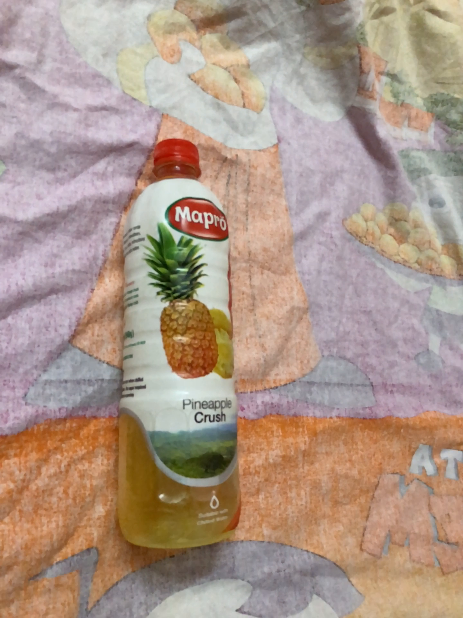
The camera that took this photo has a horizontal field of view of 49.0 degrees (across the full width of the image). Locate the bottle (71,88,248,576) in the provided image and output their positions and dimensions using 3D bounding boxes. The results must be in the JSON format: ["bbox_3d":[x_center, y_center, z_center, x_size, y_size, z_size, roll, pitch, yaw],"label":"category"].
[{"bbox_3d":[-0.040,0.010,0.307,0.080,0.060,0.250,7,79,-36],"label":"bottle"}]
